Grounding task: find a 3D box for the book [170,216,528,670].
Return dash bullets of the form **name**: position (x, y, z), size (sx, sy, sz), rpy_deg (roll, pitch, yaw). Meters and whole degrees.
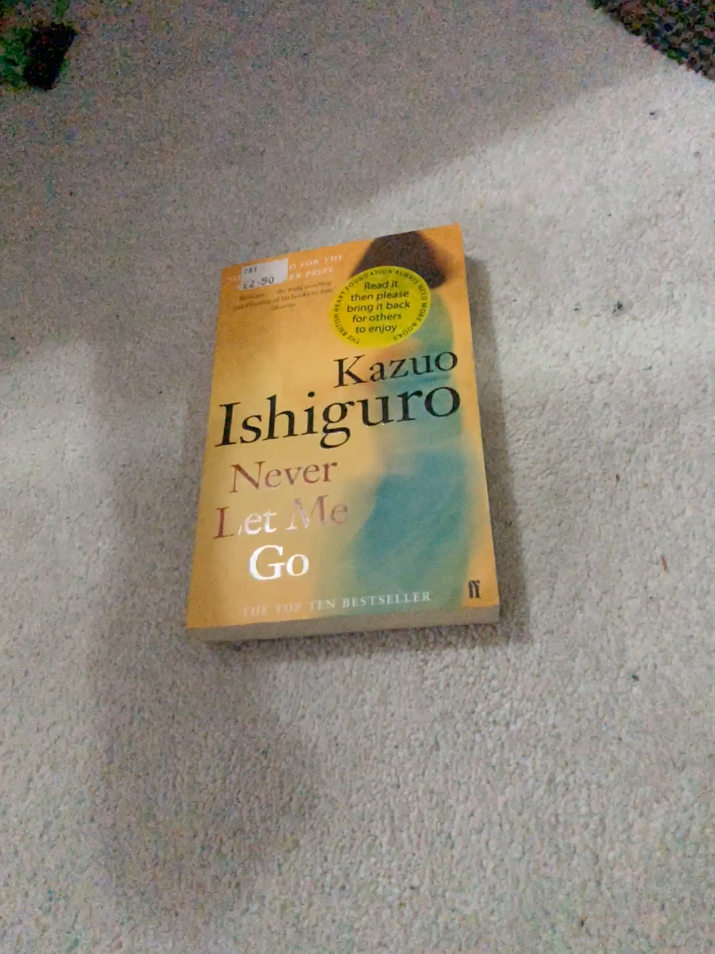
- **book**: position (-0.006, -0.024, 0.338), size (0.140, 0.020, 0.211), rpy_deg (-7, 61, 12)
